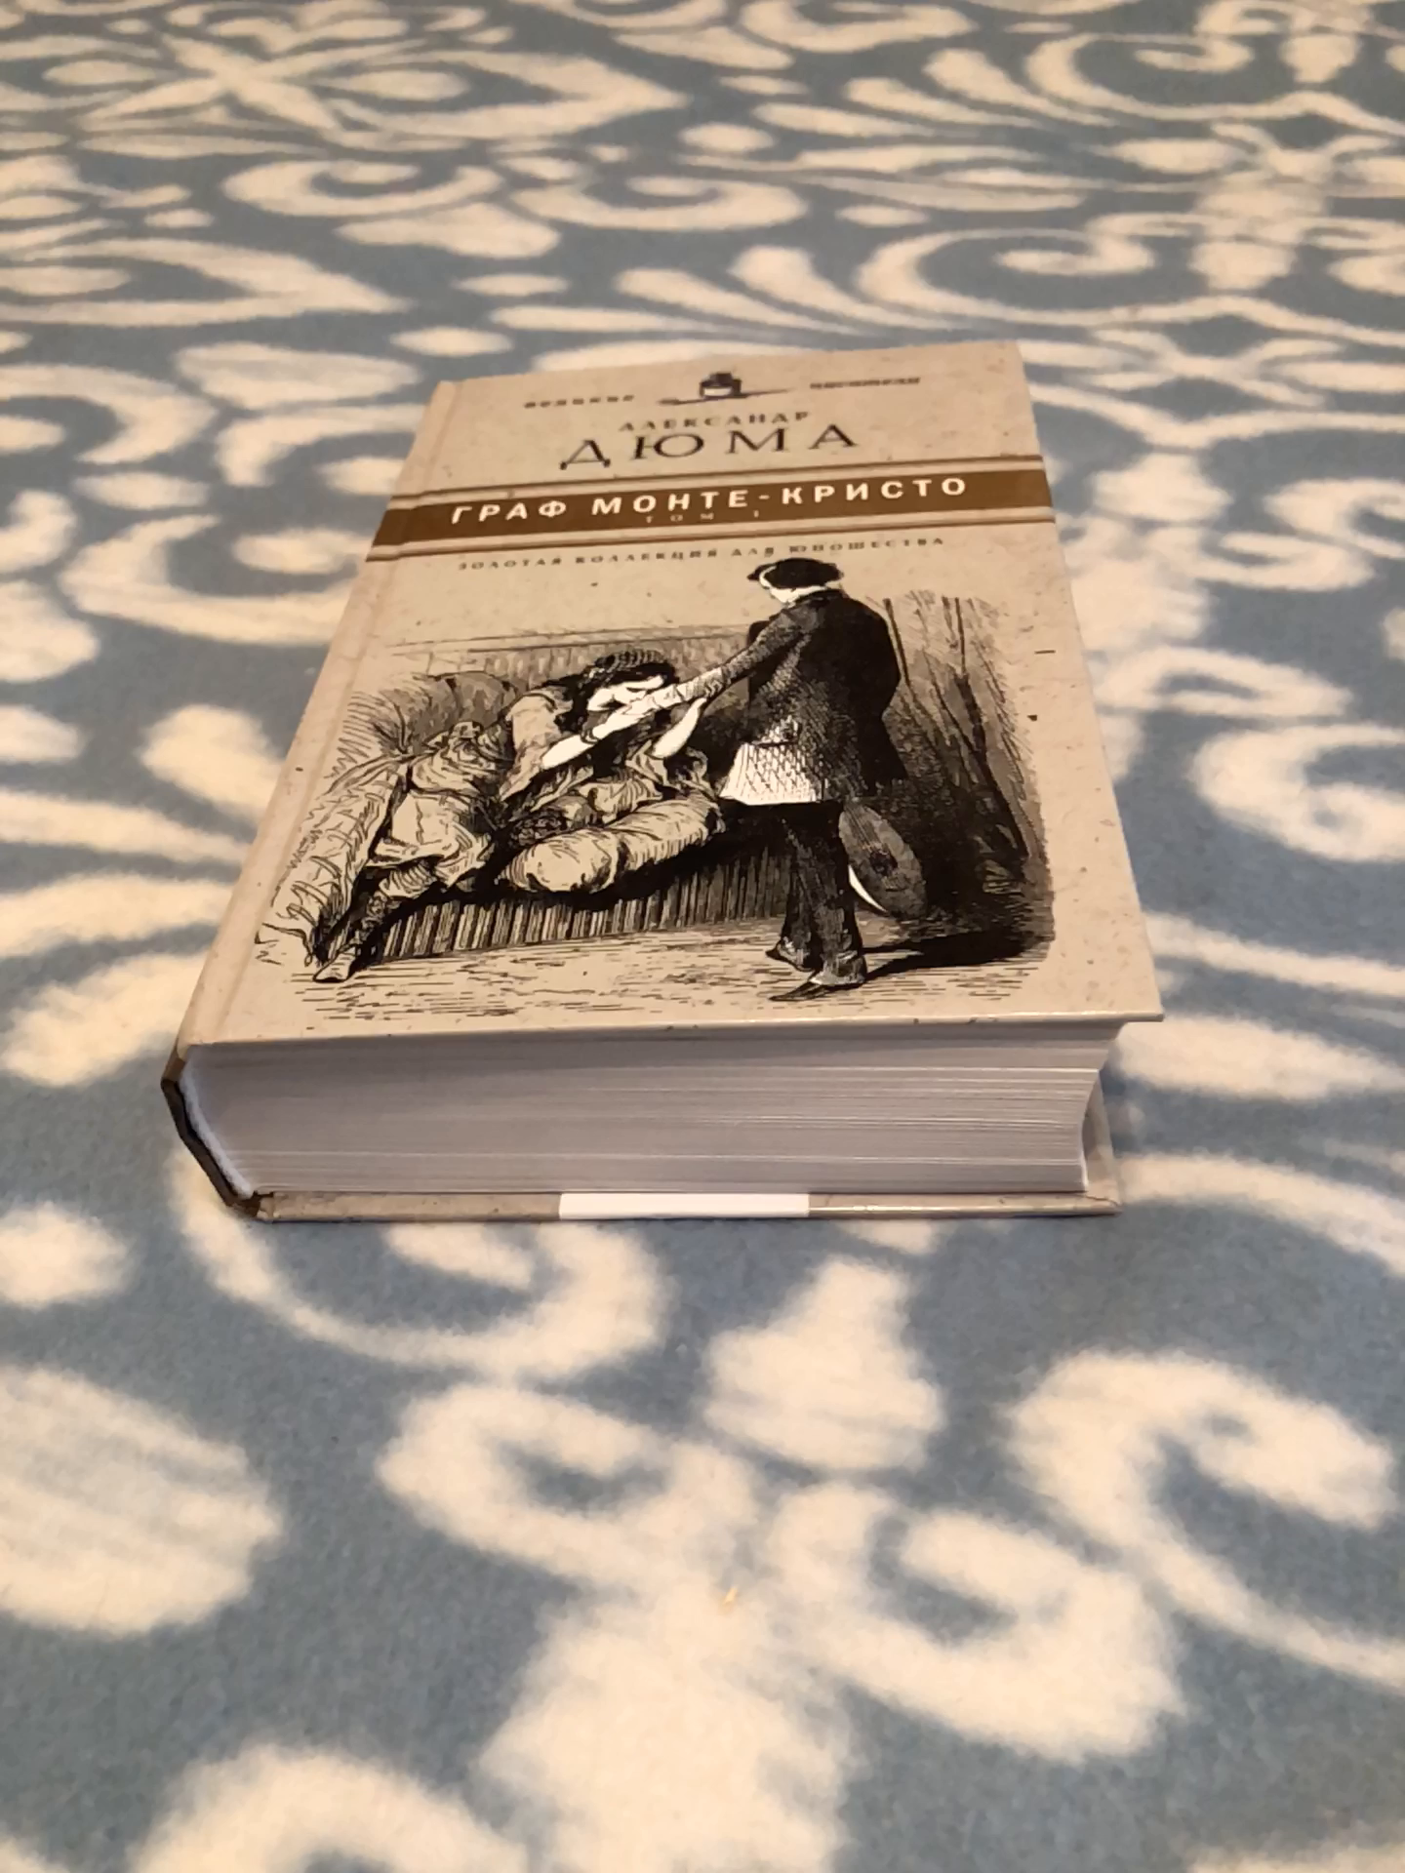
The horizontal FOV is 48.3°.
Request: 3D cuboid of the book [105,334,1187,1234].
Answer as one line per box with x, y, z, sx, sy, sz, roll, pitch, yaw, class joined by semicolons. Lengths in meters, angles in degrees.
-0.003;-0.045;0.289;0.138;0.040;0.213;-2;43;5;book
